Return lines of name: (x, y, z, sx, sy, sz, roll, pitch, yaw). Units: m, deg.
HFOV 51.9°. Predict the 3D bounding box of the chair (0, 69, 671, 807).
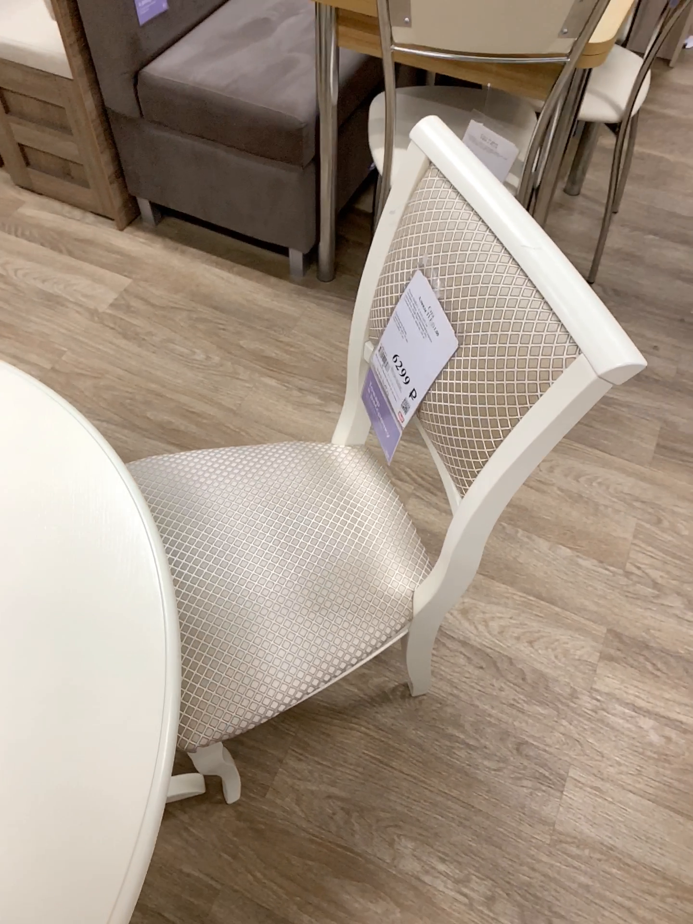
chair: (-0.070, 0.064, 1.014, 0.511, 0.907, 0.461, -22, 59, -16)
